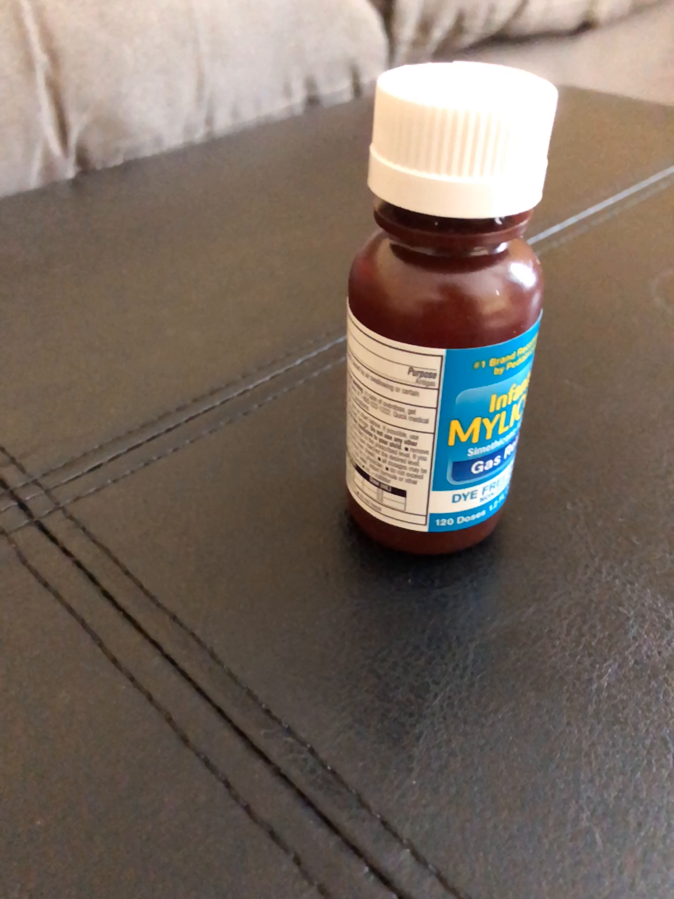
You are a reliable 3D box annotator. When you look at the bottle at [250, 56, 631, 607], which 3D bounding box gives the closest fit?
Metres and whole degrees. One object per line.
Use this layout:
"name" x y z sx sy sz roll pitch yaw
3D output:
"bottle" 0.016 -0.020 0.137 0.040 0.080 0.040 0 40 0
